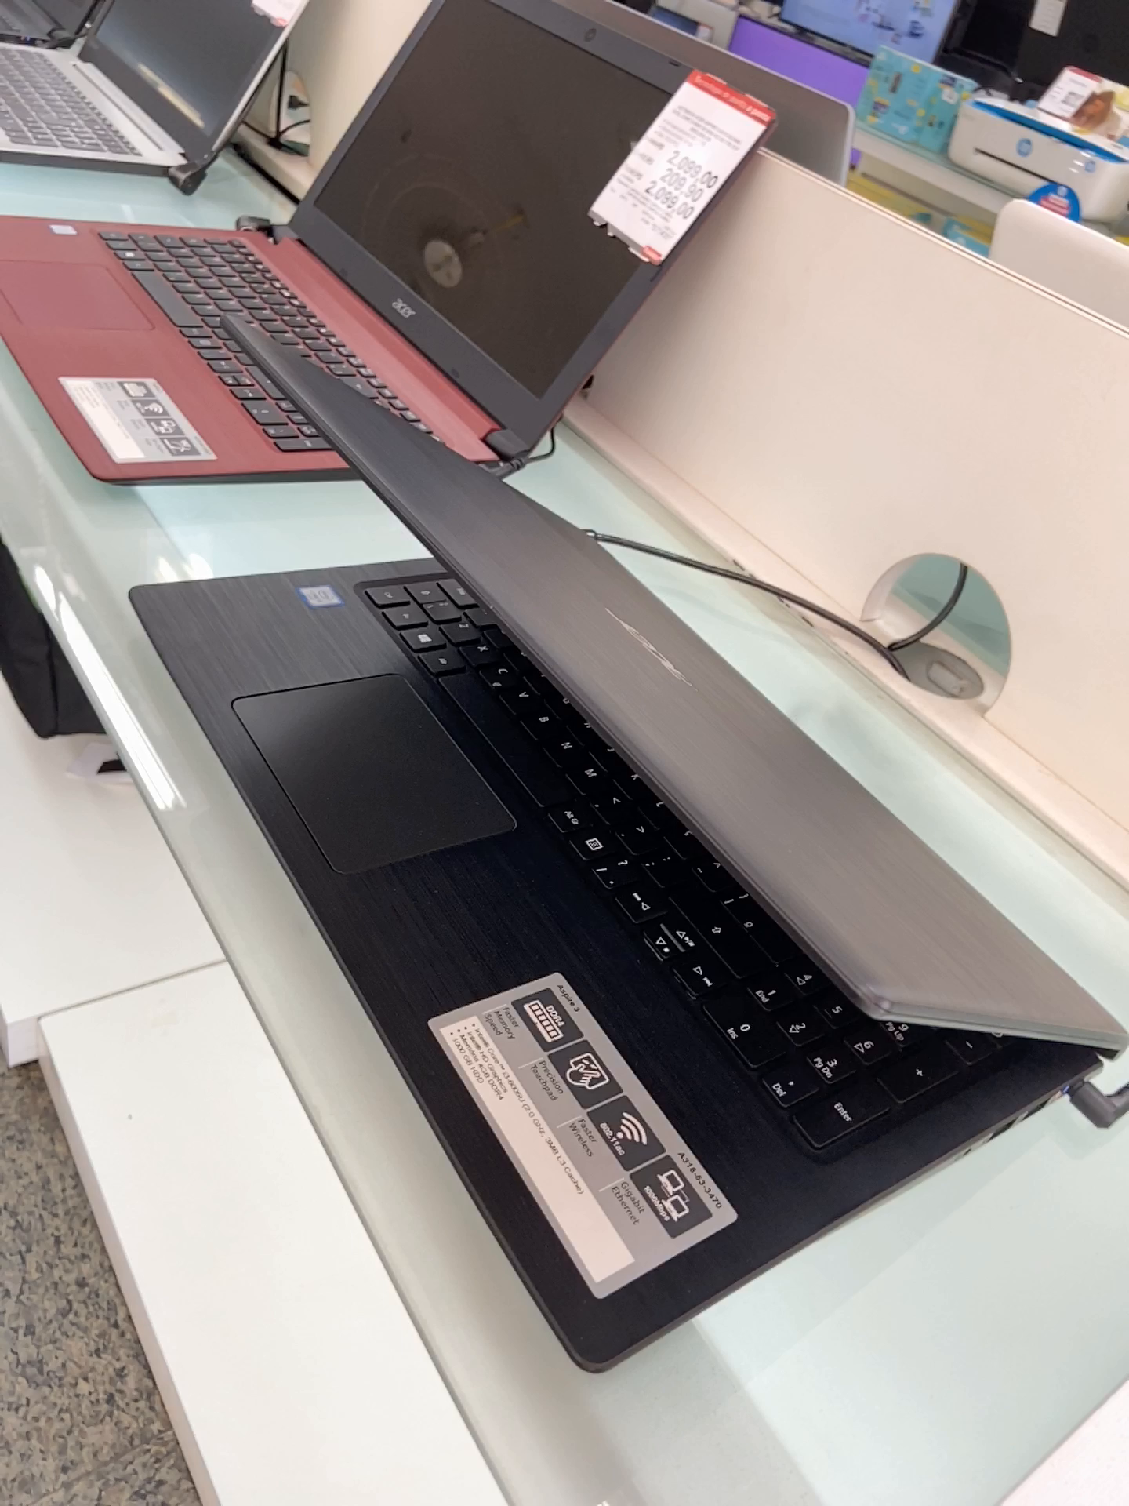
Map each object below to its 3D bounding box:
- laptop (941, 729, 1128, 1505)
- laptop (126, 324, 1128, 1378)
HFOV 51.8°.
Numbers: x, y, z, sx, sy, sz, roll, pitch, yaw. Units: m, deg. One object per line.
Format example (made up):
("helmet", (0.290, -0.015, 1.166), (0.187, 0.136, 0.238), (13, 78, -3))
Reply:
("laptop", (0.354, 0.215, 0.225), (0.352, 0.165, 0.382), (-15, 49, -35))
("laptop", (0.016, -0.026, 0.438), (0.240, 0.123, 0.380), (-12, 45, -33))
